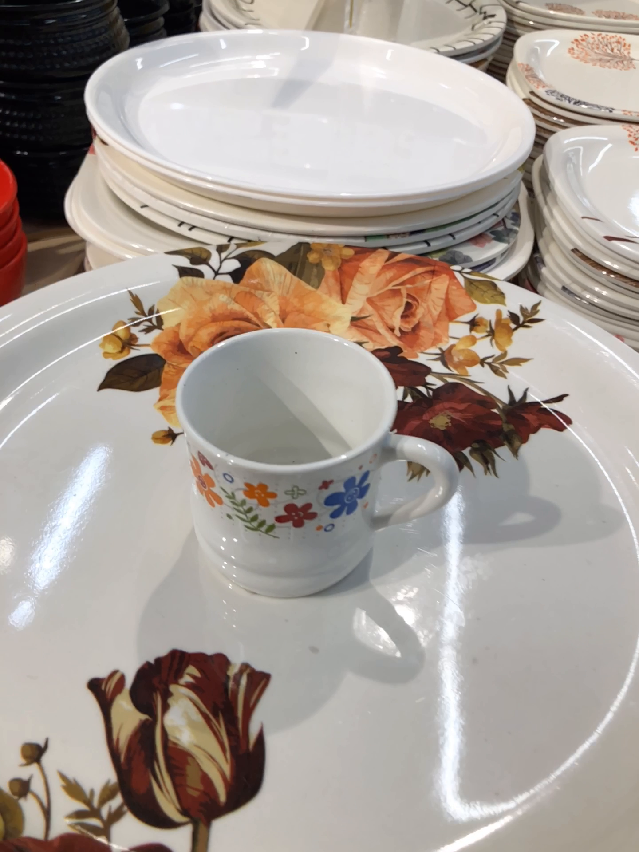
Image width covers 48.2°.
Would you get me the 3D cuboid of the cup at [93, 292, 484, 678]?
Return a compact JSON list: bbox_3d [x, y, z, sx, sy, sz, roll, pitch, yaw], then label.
[{"bbox_3d":[-0.007,0.016,0.226,0.090,0.070,0.070,17,46,13],"label":"cup"}]
